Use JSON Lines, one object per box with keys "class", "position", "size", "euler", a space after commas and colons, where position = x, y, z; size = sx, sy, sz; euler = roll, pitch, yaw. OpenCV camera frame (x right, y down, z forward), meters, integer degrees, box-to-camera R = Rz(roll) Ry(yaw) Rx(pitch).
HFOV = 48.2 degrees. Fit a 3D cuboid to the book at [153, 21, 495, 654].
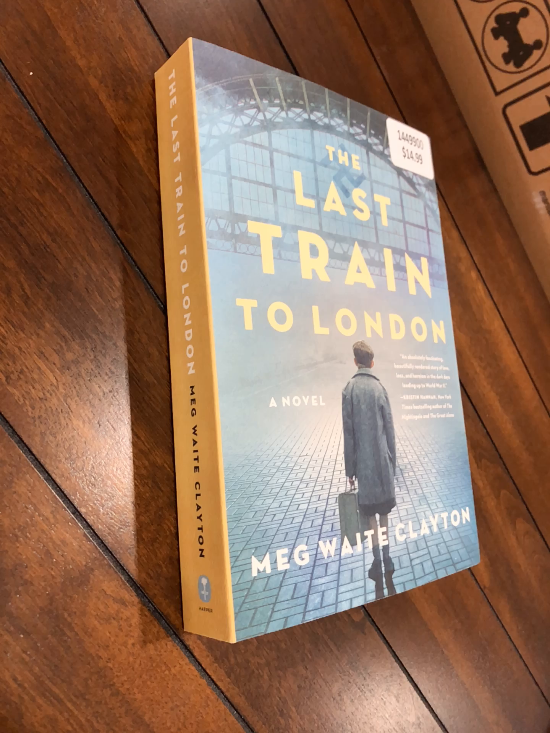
{"class": "book", "position": [0.026, -0.011, 0.273], "size": [0.152, 0.041, 0.220], "euler": [3, 80, -38]}
